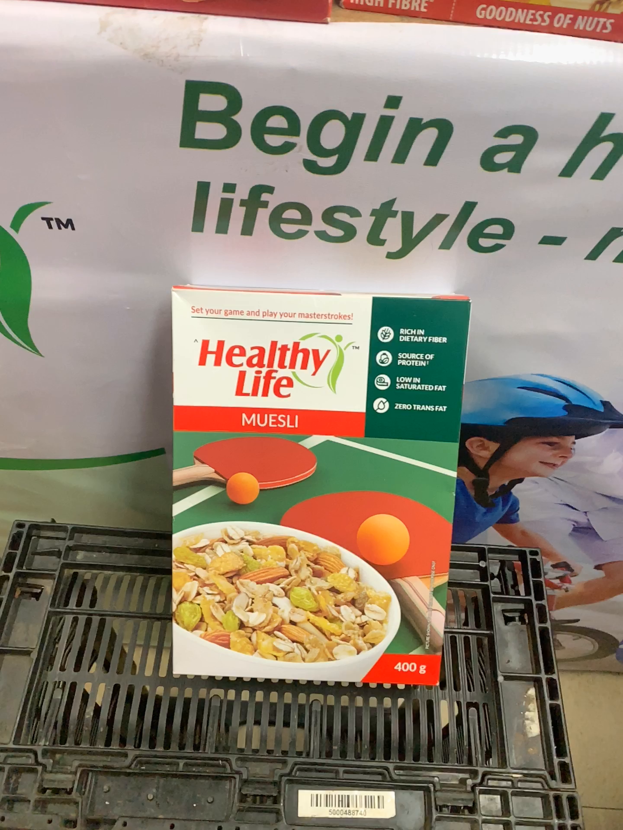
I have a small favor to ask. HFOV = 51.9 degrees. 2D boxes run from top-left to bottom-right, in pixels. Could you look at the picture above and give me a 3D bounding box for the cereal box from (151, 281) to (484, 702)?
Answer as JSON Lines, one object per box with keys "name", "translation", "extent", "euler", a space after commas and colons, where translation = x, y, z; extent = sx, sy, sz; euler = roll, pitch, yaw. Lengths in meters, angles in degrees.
{"name": "cereal box", "translation": [0.001, 0.040, 0.385], "extent": [0.170, 0.230, 0.080], "euler": [2, 9, 1]}
